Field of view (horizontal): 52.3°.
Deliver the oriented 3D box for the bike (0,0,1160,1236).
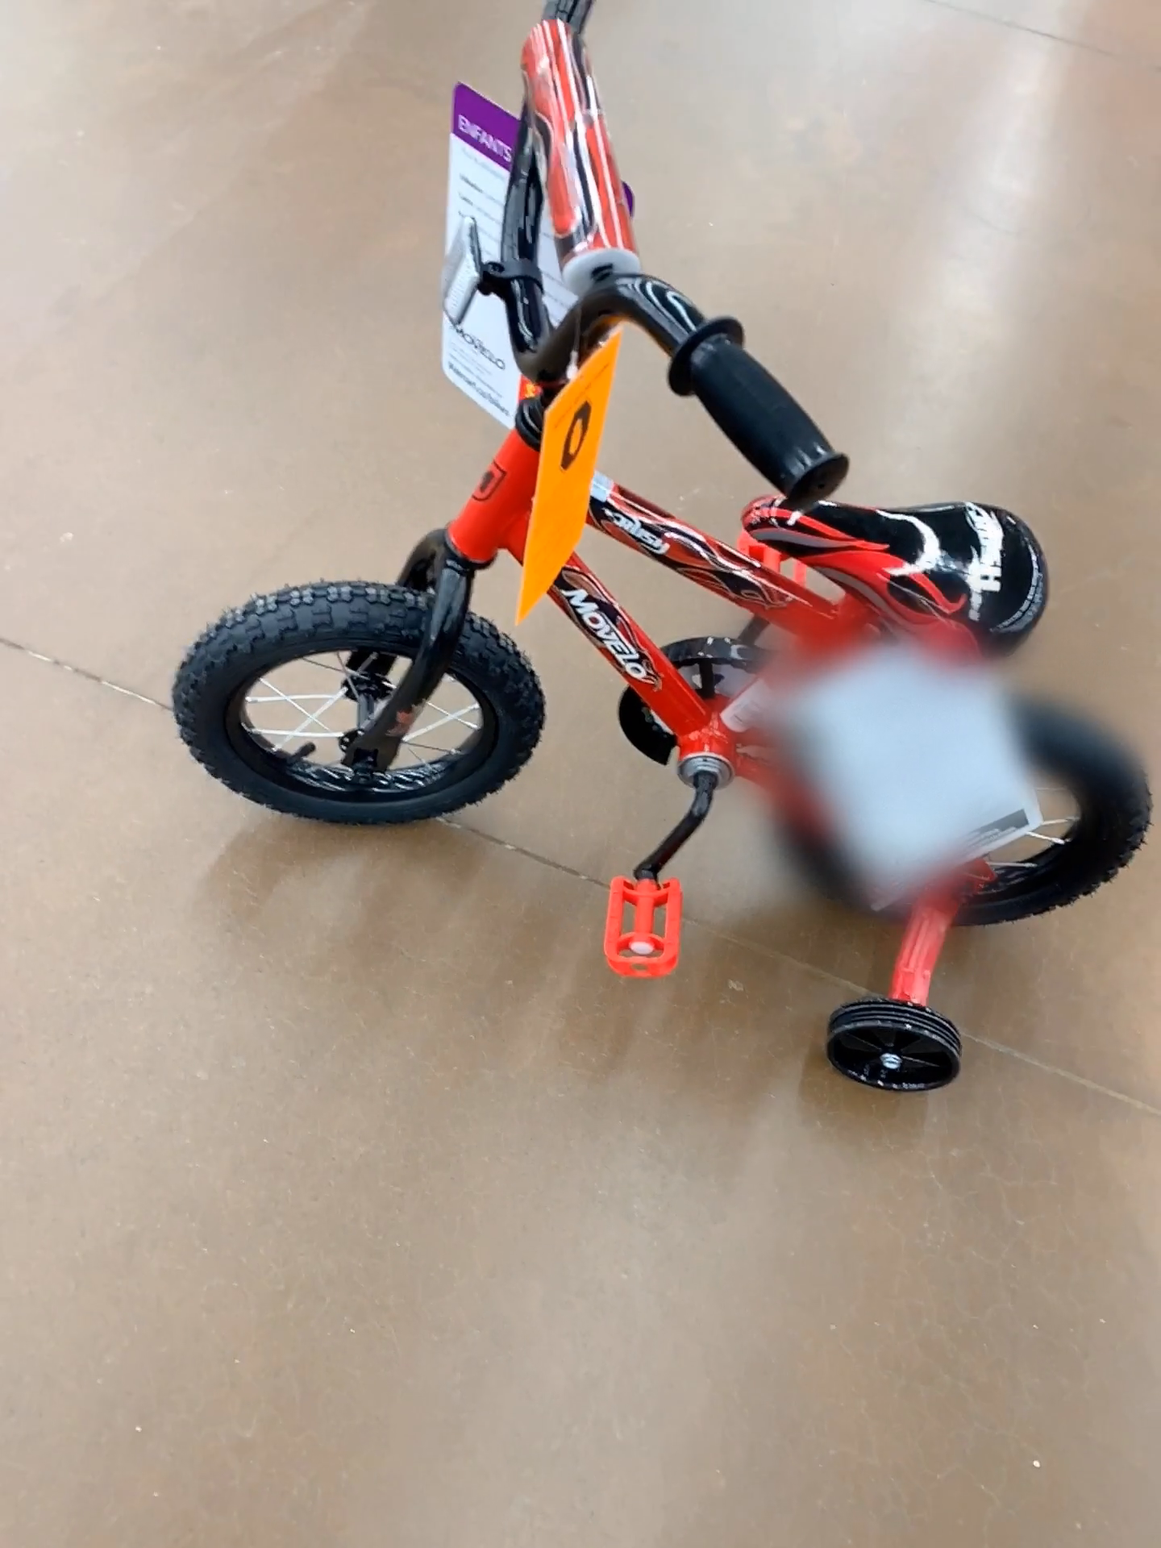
[{"bbox_3d":[0.106,-0.099,0.695,0.703,0.626,0.459,10,50,-8],"label":"bike"}]
